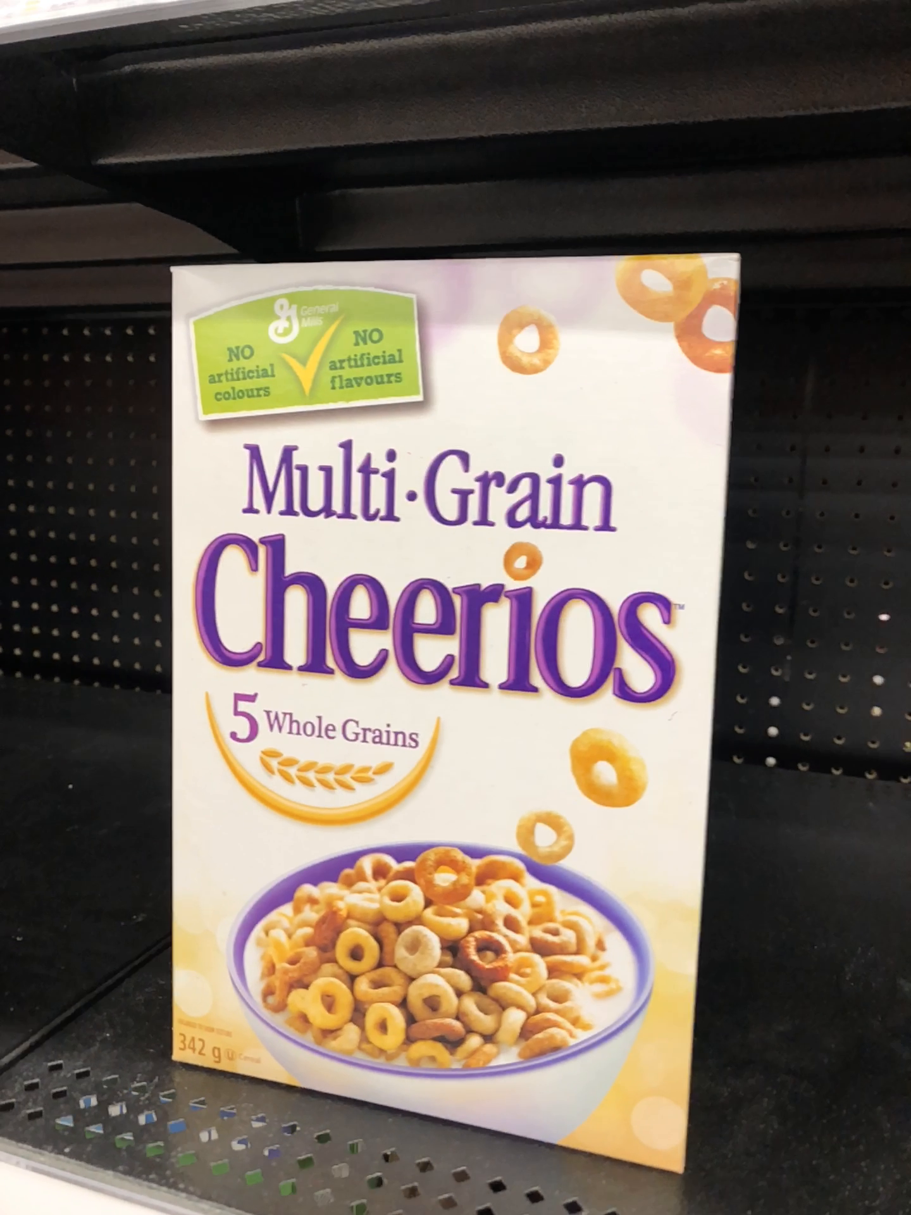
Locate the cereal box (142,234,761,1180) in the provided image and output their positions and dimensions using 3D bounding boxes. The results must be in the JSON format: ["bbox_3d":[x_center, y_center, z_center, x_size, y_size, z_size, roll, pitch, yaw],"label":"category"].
[{"bbox_3d":[-0.003,0.027,0.363,0.200,0.289,0.070,4,8,17],"label":"cereal box"}]
